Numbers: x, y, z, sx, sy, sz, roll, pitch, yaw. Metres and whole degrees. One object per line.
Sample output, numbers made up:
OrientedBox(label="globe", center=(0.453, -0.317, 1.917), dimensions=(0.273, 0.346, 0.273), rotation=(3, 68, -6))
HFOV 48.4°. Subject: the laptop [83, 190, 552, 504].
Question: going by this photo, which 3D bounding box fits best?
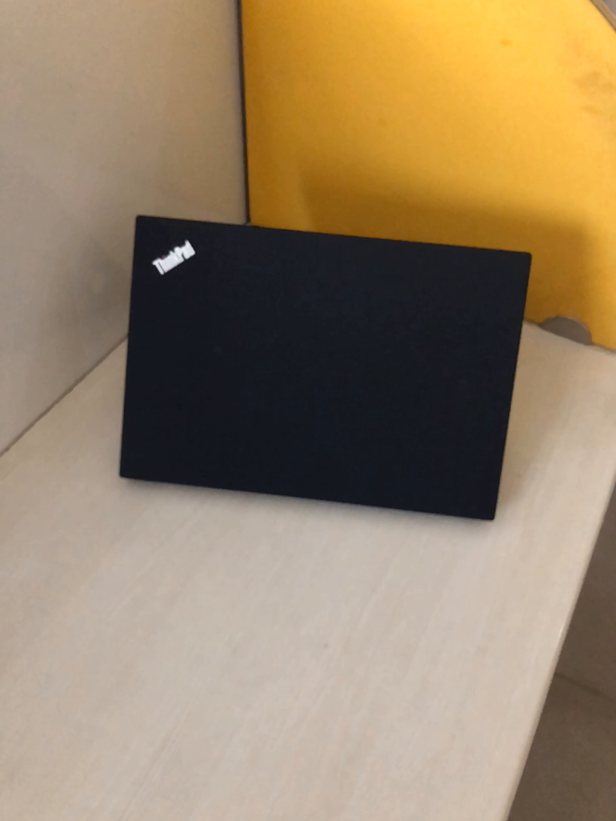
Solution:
OrientedBox(label="laptop", center=(0.010, -0.068, 0.658), dimensions=(0.349, 0.166, 0.241), rotation=(5, 46, 3))
